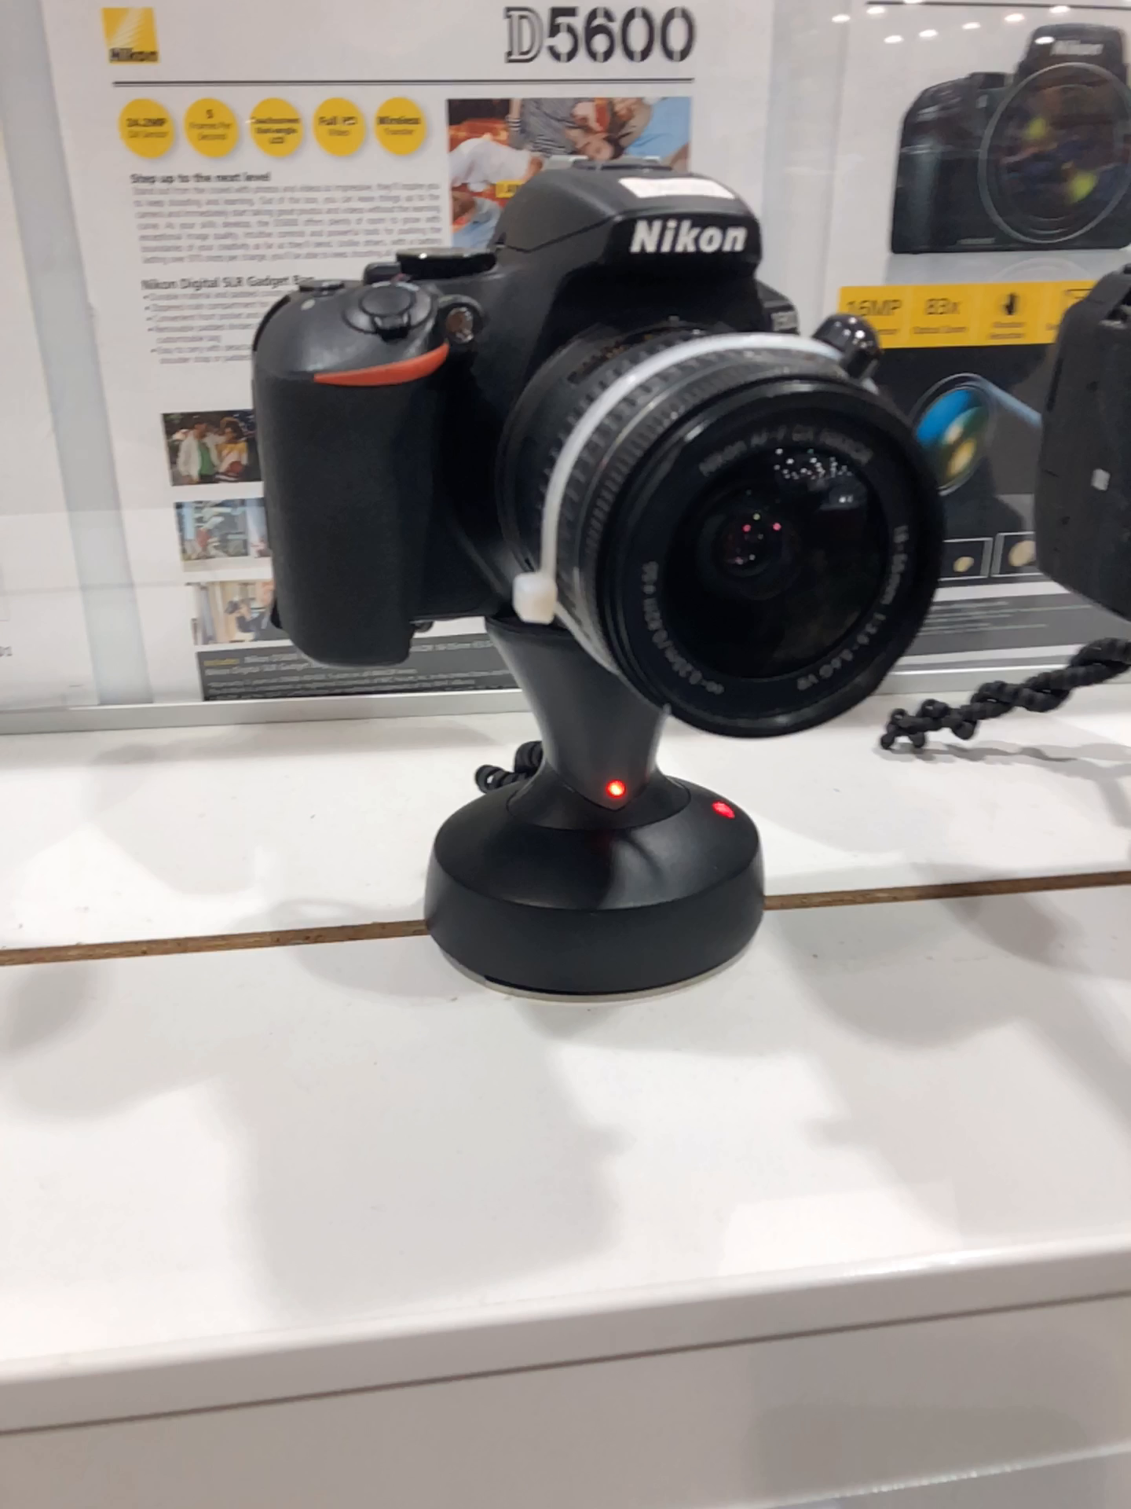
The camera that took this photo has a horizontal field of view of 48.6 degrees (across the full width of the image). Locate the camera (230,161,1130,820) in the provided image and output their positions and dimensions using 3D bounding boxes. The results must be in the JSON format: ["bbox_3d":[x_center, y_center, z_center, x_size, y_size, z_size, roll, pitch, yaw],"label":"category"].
[{"bbox_3d":[0.008,-0.067,0.251,0.130,0.090,0.141,-6,27,-16],"label":"camera"}]
